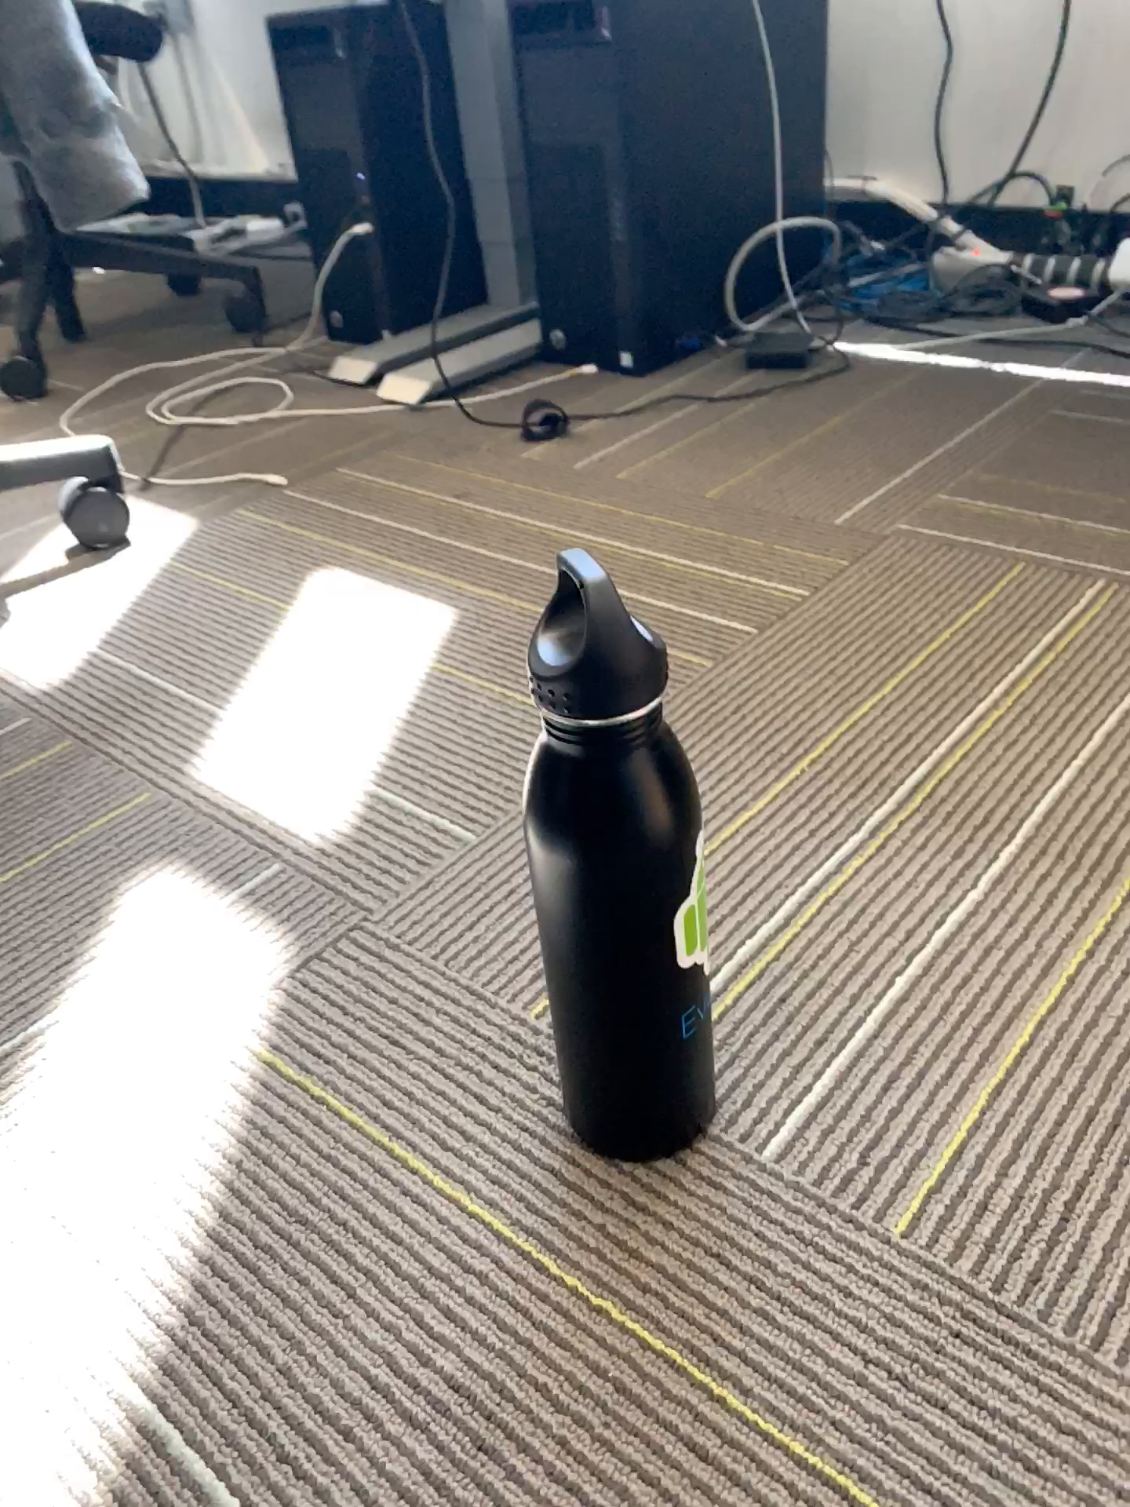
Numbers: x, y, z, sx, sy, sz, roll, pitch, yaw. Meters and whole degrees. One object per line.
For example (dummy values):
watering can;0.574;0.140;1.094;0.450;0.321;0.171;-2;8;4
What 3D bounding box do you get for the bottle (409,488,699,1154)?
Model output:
bottle;0.002;0.035;0.456;0.080;0.249;0.091;-6;33;1
